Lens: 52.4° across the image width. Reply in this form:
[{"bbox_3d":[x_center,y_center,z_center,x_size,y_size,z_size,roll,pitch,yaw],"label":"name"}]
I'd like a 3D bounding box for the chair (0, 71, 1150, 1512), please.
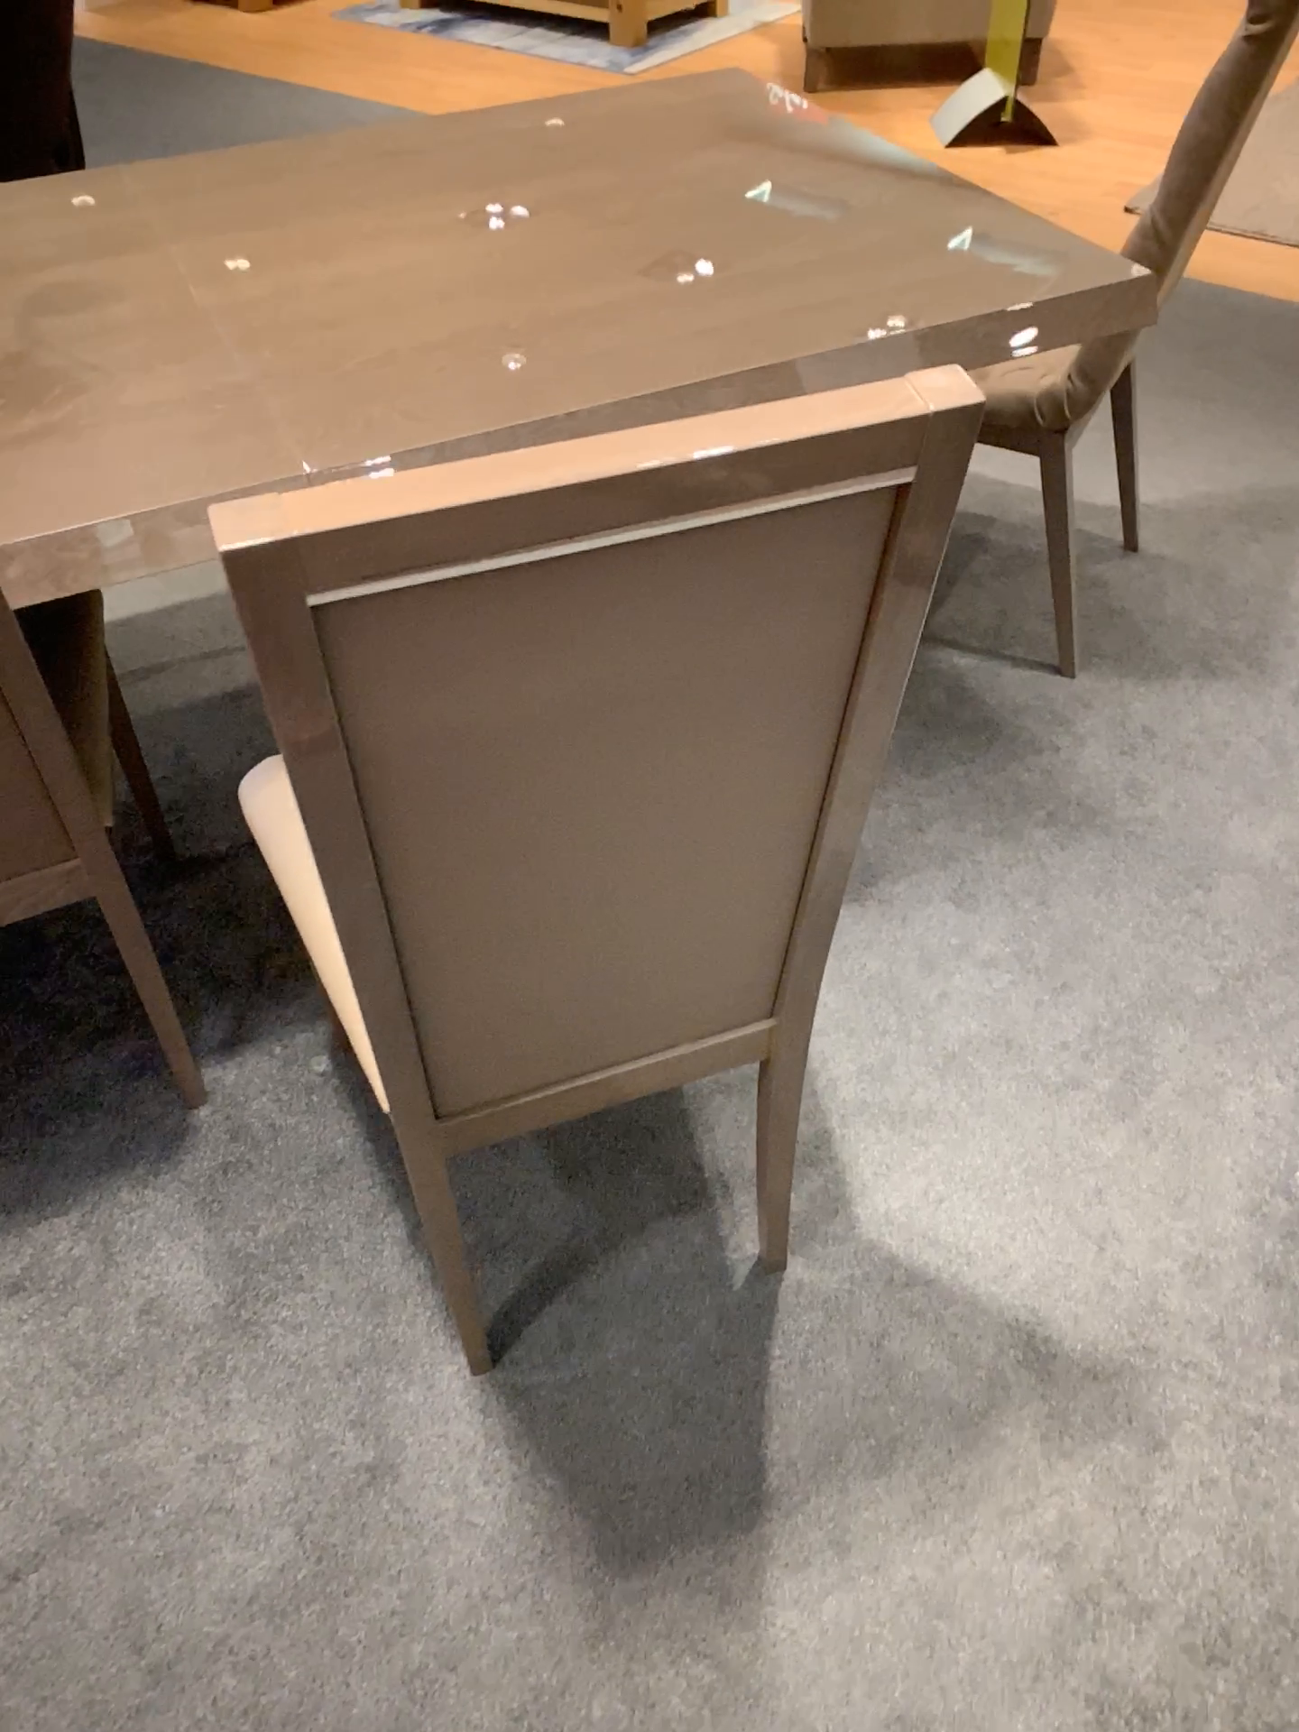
[{"bbox_3d":[-0.096,-0.035,1.117,0.539,0.946,0.590,-18,45,-16],"label":"chair"}]
